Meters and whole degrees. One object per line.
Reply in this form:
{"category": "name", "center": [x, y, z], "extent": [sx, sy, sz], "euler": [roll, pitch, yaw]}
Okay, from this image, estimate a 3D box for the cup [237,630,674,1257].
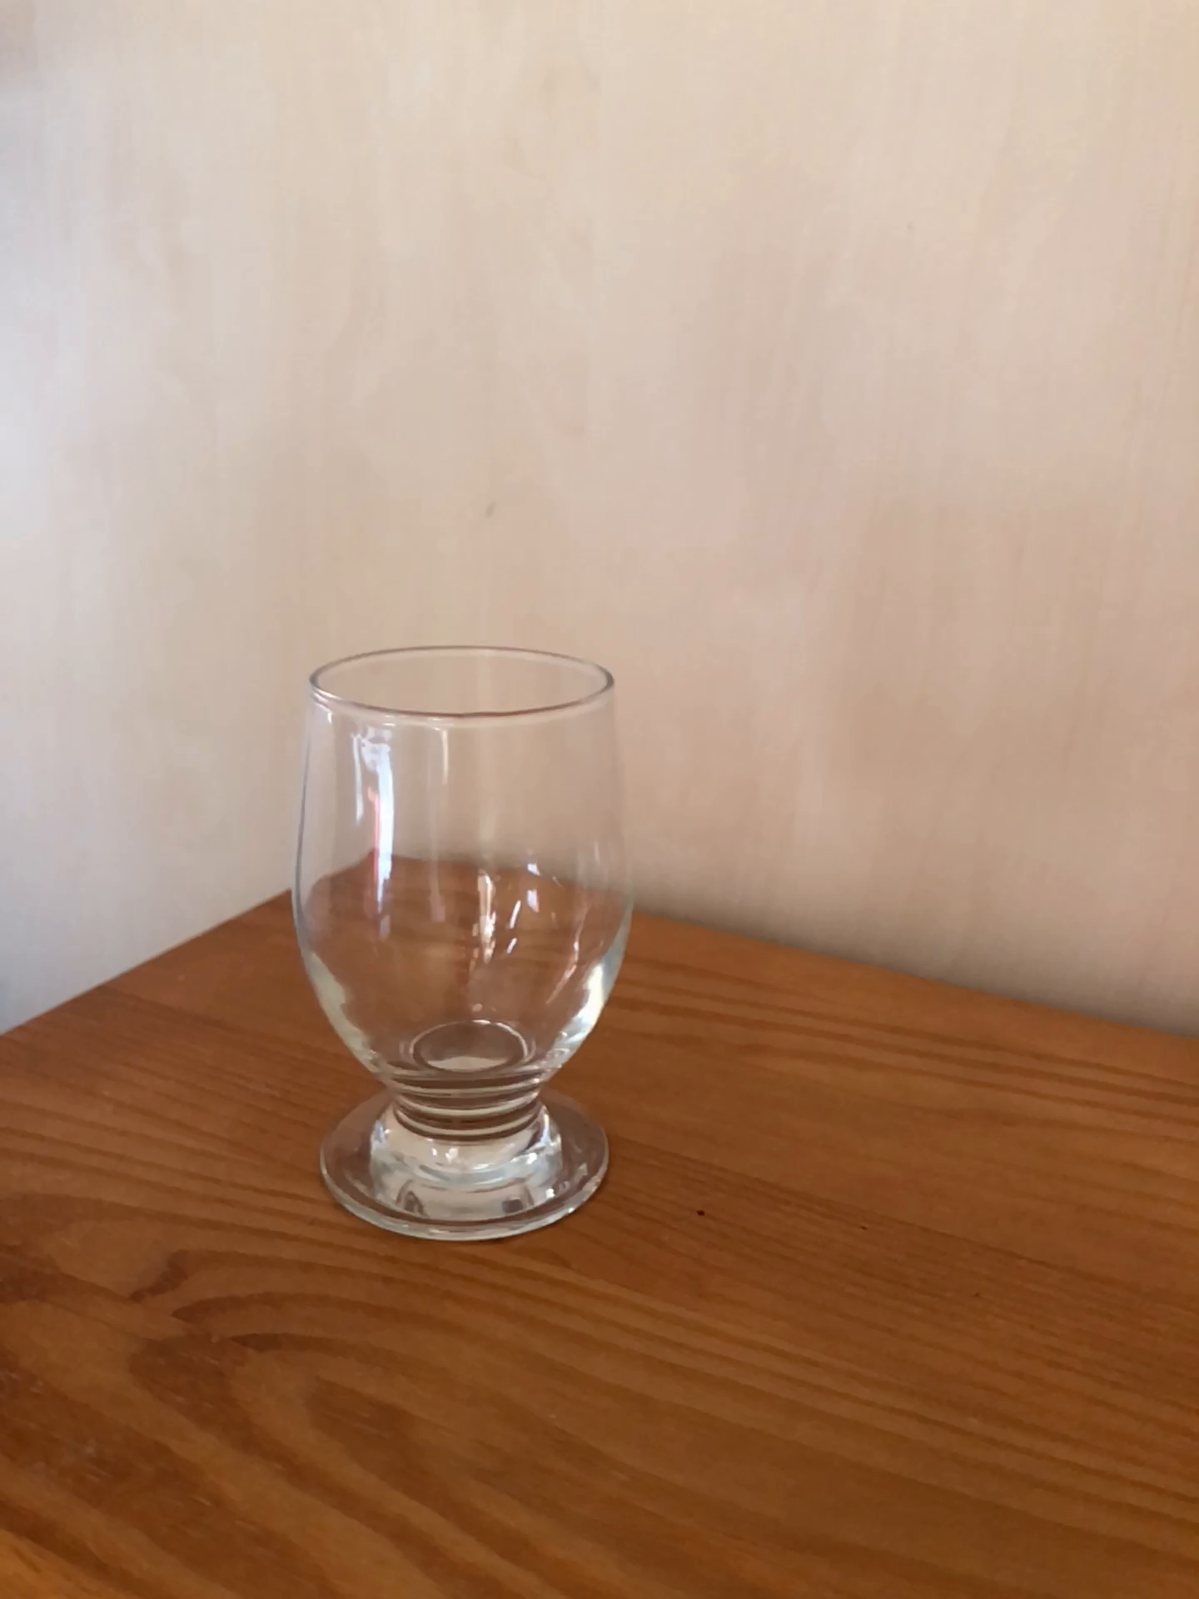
{"category": "cup", "center": [-0.027, 0.026, 0.293], "extent": [0.078, 0.107, 0.082], "euler": [3, 17, -1]}
